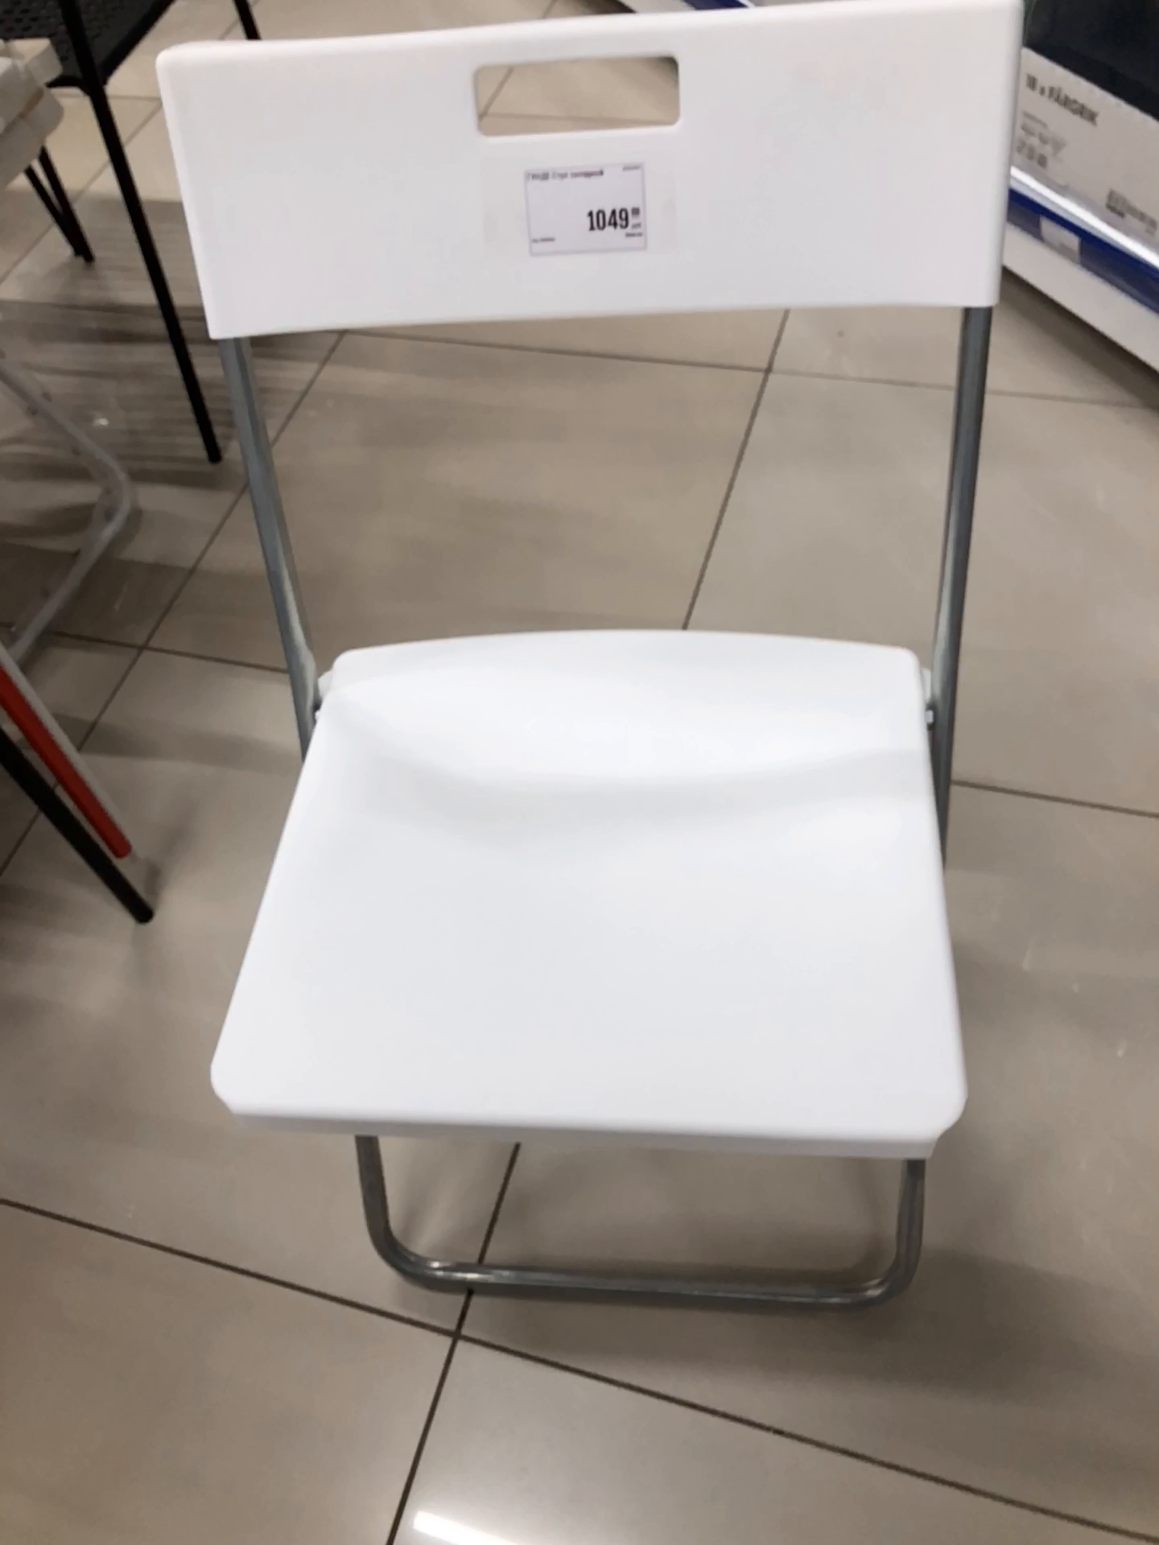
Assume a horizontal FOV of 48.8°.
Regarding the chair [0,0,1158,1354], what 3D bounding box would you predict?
[{"bbox_3d":[0.018,0.018,0.765,0.425,0.711,0.433,1,53,8],"label":"chair"}]
